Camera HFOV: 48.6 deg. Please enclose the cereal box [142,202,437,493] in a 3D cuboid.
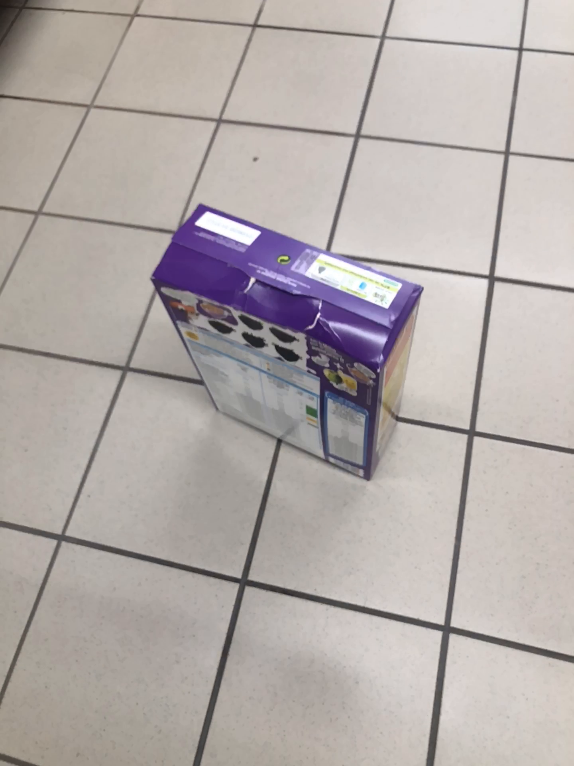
[{"bbox_3d":[0.010,-0.014,0.581,0.200,0.269,0.080,23,68,15],"label":"cereal box"}]
